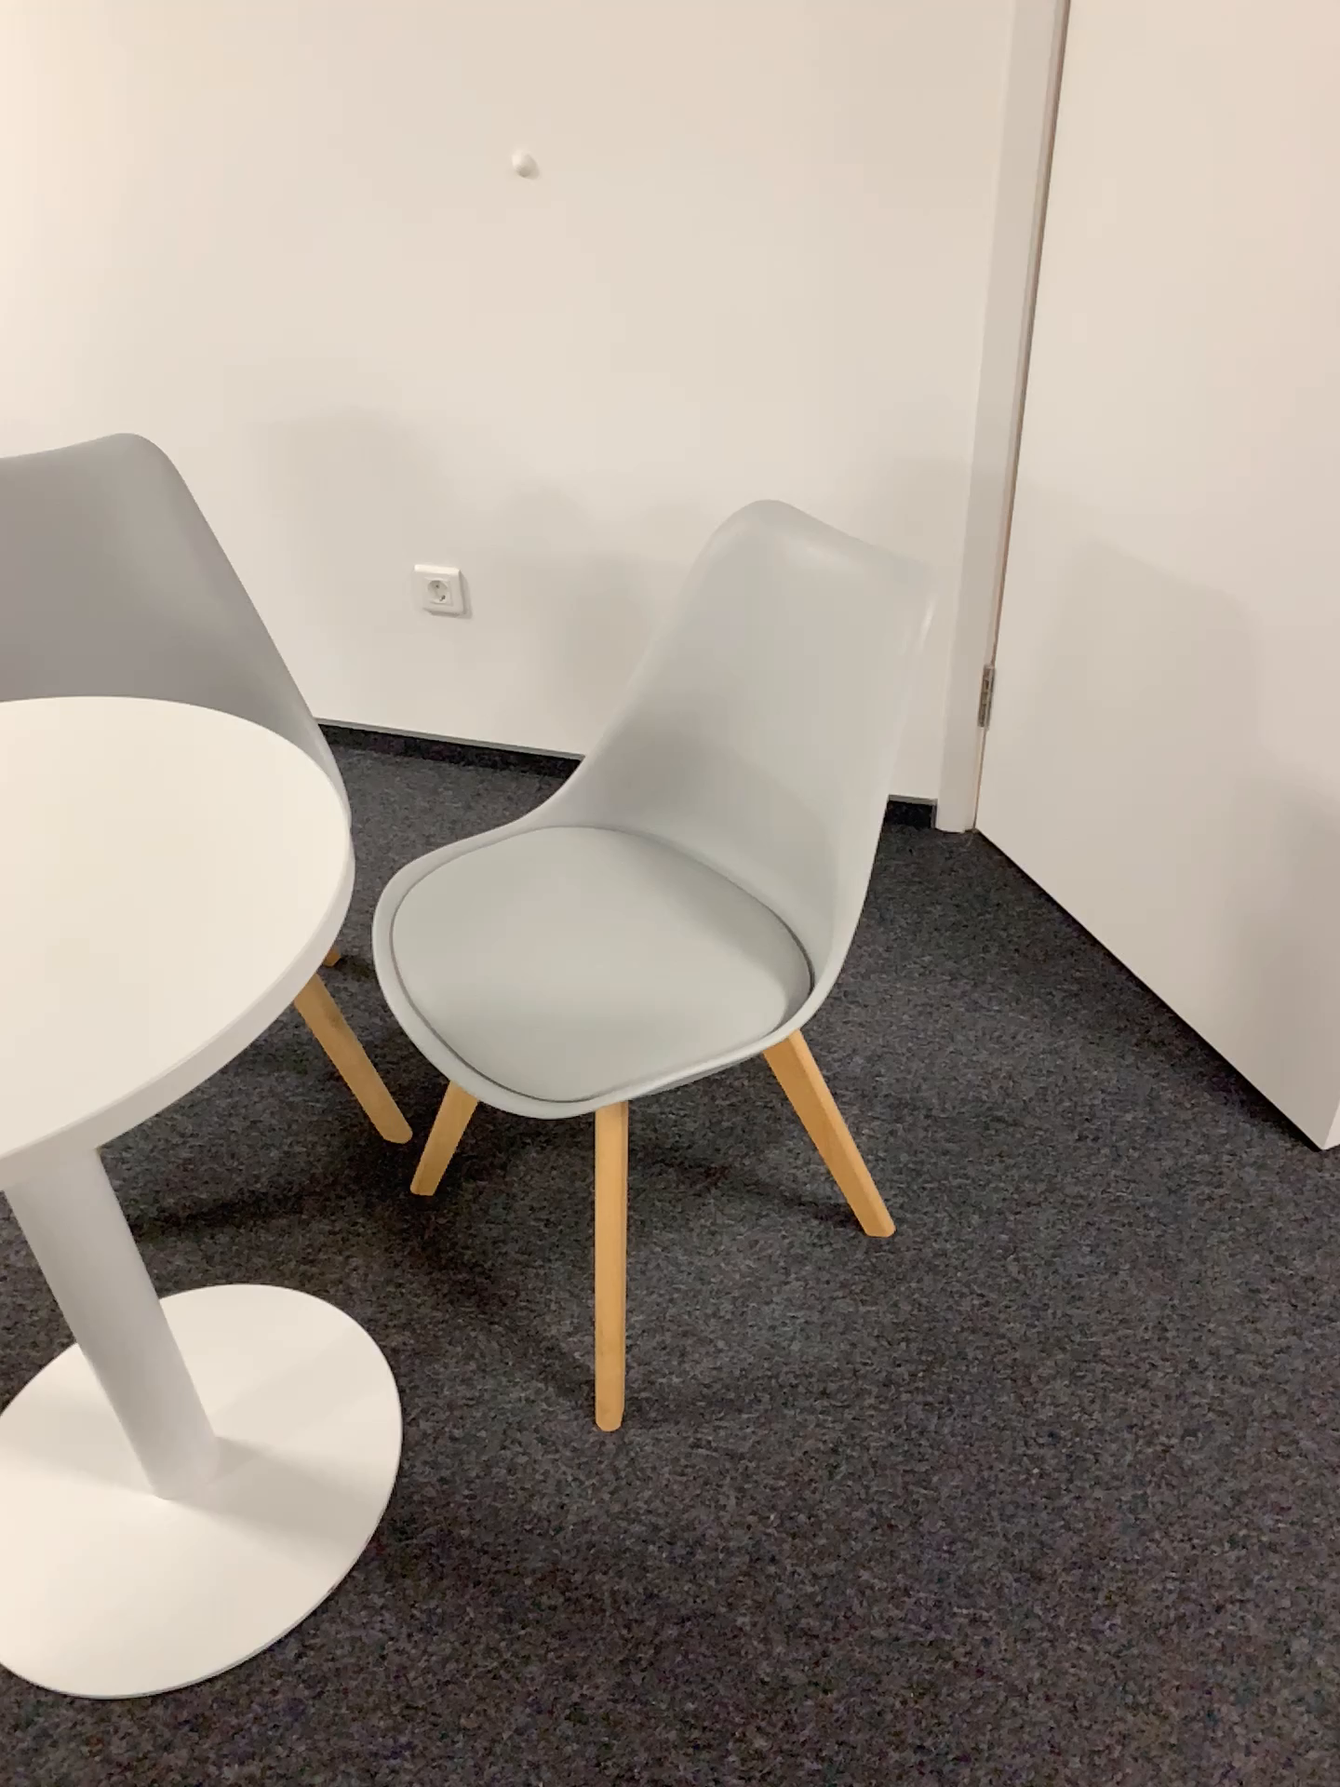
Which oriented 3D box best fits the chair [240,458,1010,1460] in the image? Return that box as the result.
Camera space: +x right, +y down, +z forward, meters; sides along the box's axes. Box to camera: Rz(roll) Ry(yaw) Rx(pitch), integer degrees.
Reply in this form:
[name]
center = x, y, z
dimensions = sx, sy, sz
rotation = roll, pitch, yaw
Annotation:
[chair]
center = -0.033, 0.059, 1.438
dimensions = 0.523, 0.810, 0.445
rotation = -24, 41, -26
